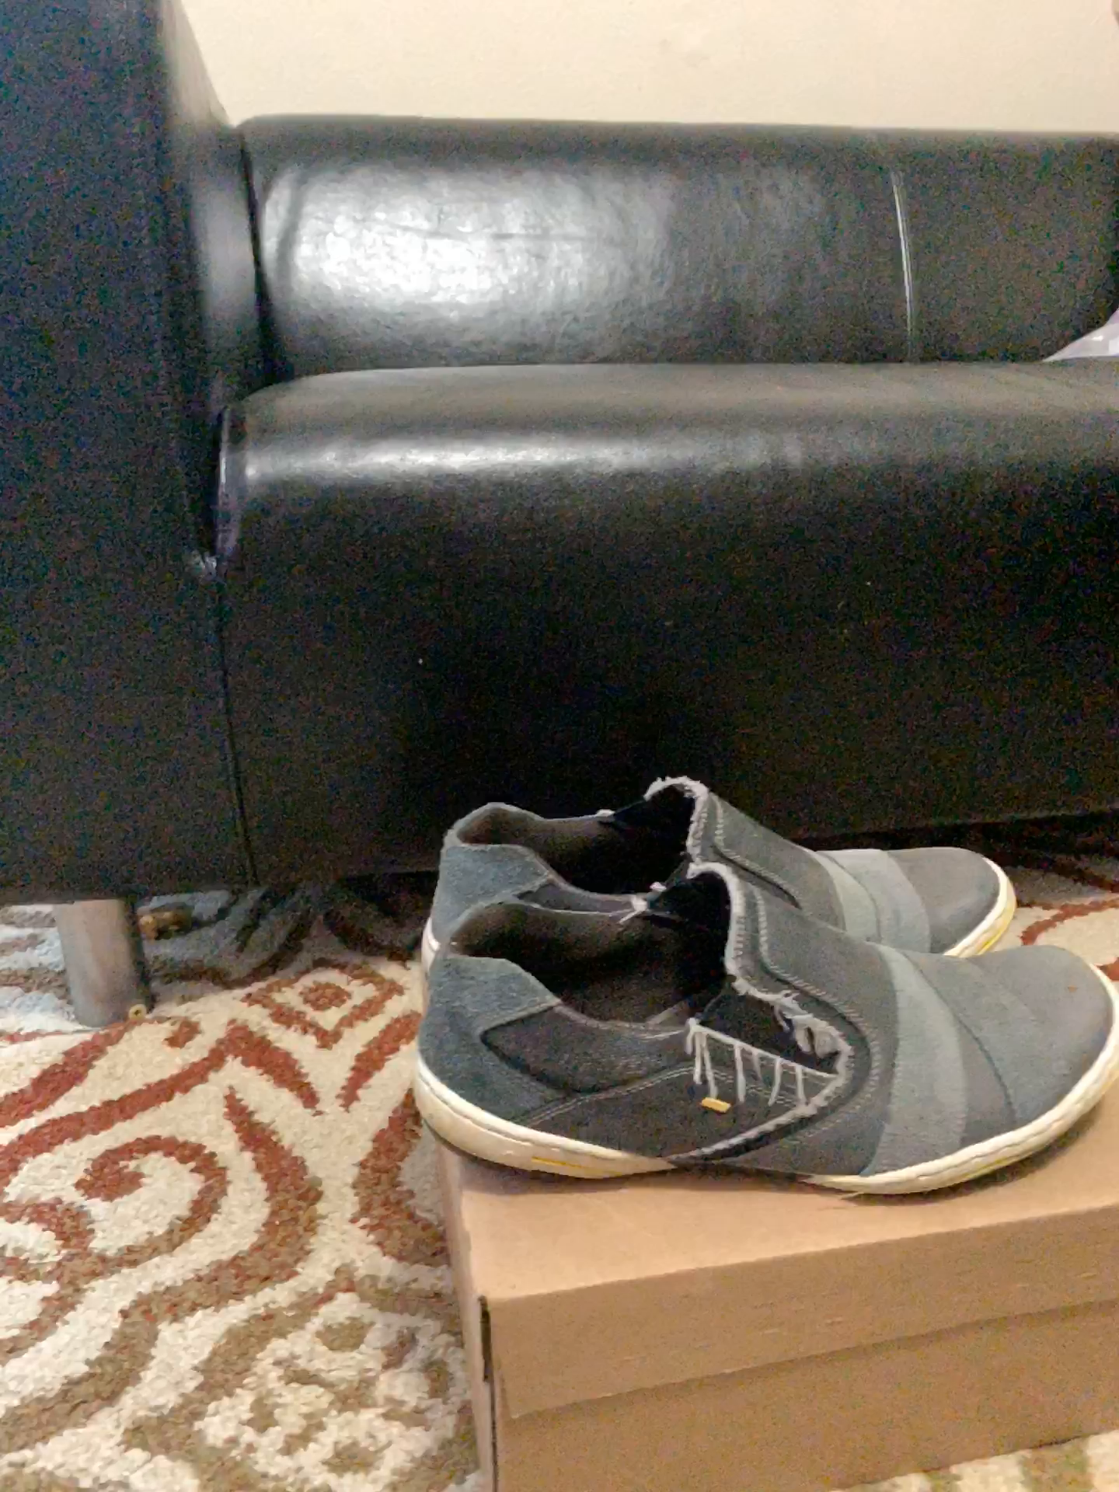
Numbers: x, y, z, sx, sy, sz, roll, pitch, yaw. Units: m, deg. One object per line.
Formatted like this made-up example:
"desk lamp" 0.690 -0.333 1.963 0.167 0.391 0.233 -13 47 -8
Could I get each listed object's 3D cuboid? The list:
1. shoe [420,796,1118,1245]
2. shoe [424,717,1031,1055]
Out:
"shoe" 0.079 0.099 0.462 0.260 0.100 0.141 -2 20 -5
"shoe" 0.068 0.060 0.567 0.260 0.100 0.141 -2 20 -5
